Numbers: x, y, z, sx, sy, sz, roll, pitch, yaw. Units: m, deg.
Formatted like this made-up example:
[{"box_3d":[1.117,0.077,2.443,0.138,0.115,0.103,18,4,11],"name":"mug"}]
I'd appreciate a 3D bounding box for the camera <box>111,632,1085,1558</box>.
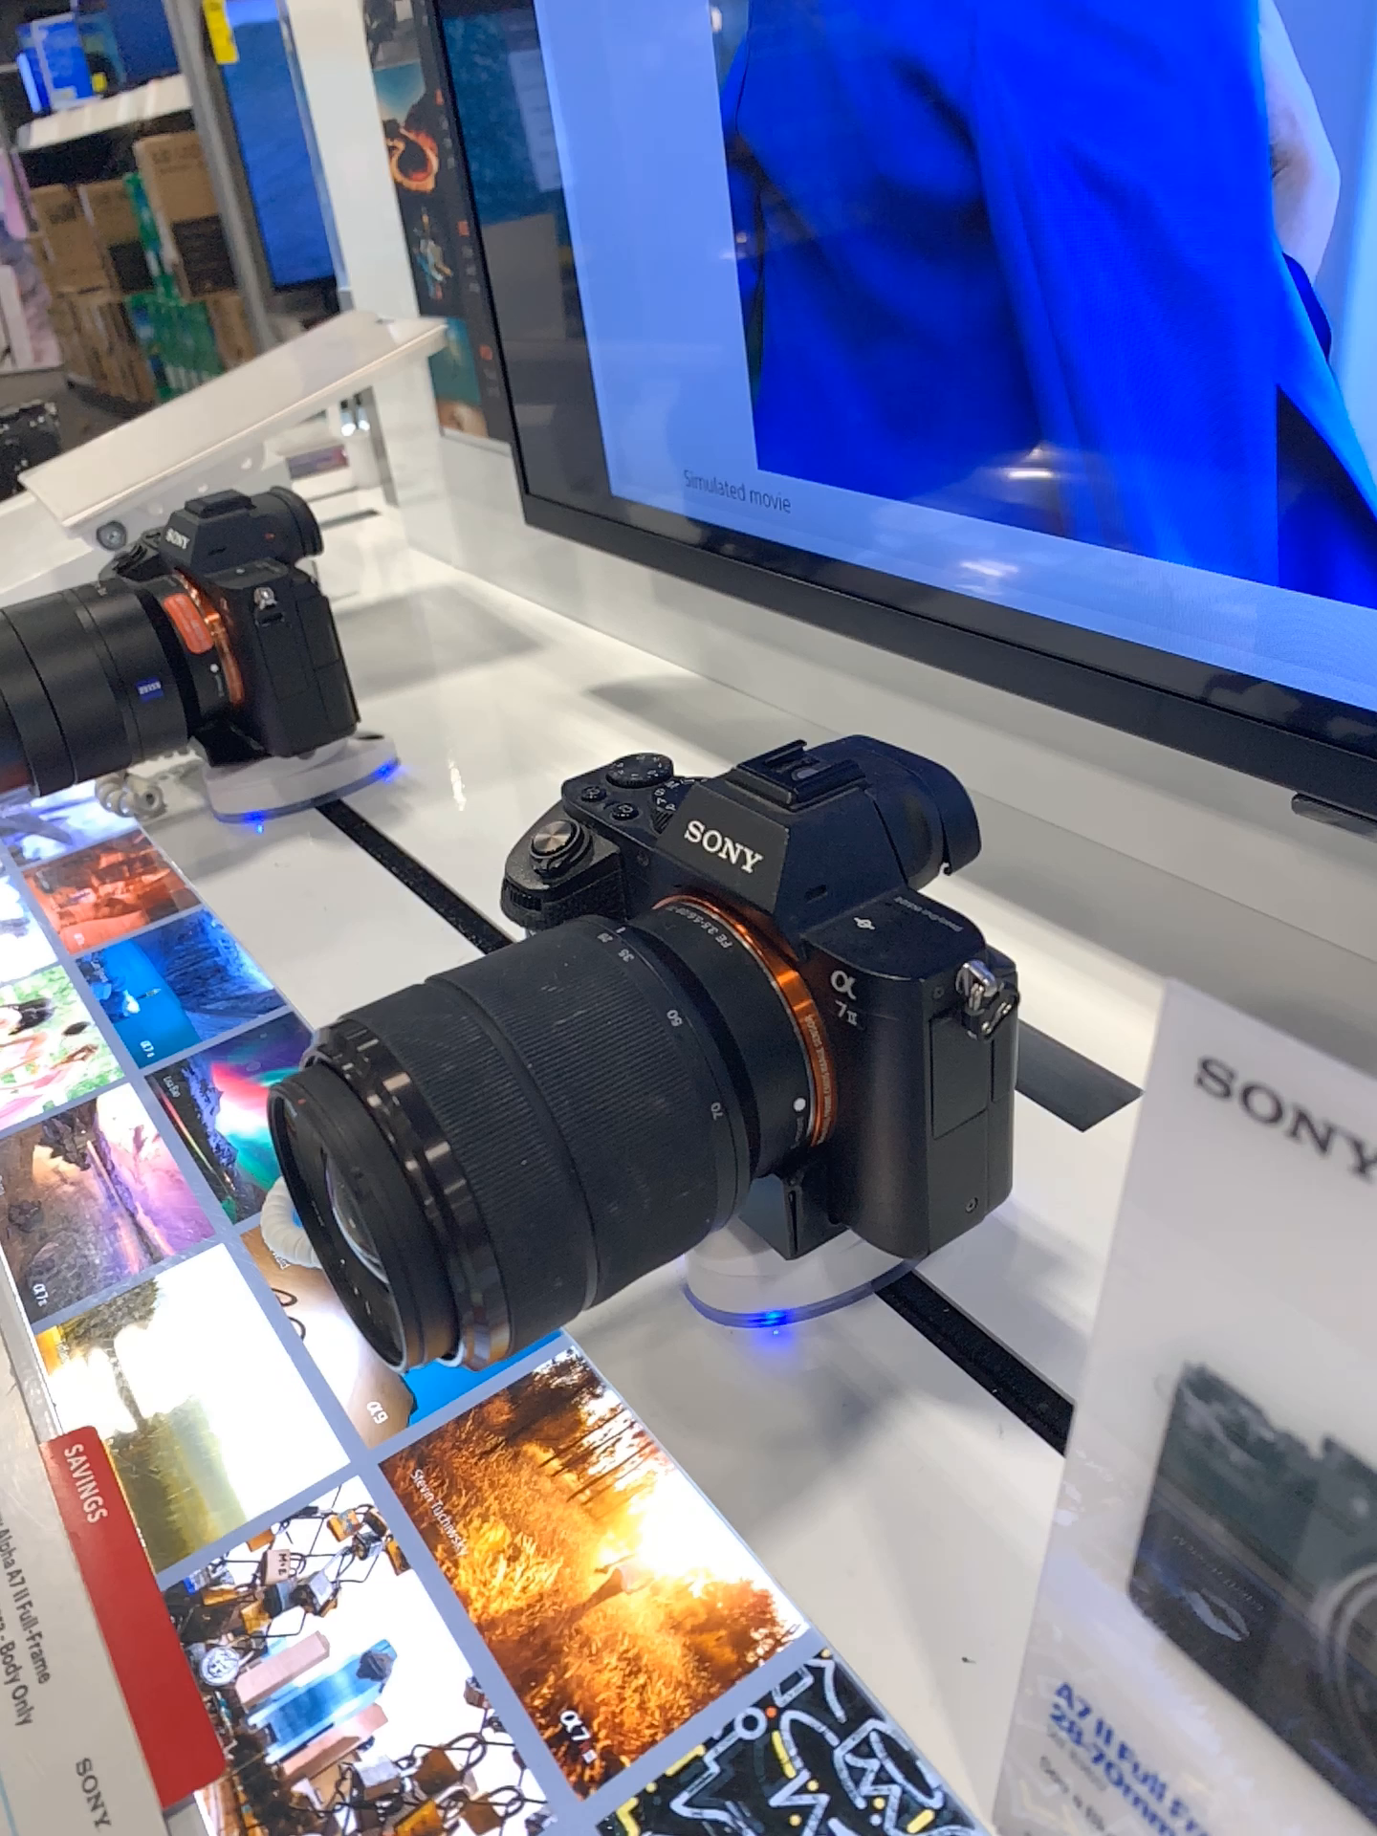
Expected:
[{"box_3d":[-0.018,0.018,0.294,0.142,0.090,0.131,-24,34,-25],"name":"camera"}]
